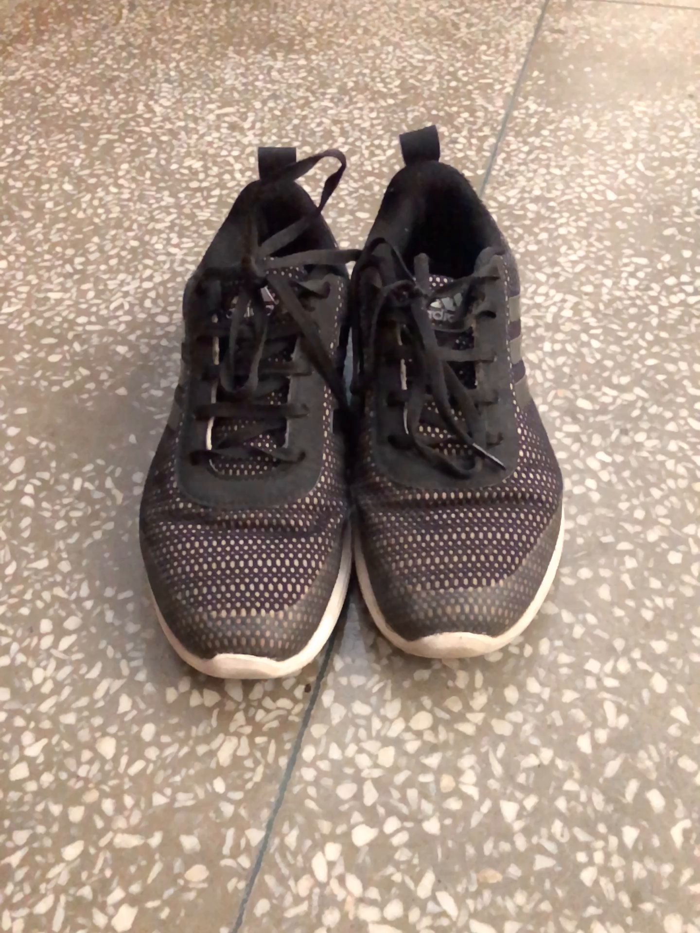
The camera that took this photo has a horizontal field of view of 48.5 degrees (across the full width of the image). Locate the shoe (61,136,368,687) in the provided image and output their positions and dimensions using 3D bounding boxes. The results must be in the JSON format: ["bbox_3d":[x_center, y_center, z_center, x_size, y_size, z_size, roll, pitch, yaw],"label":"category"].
[{"bbox_3d":[-0.045,-0.046,0.373,0.100,0.080,0.281,-1,52,1],"label":"shoe"}]

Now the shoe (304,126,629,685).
[{"bbox_3d":[0.041,-0.047,0.355,0.100,0.080,0.271,0,52,2],"label":"shoe"}]
